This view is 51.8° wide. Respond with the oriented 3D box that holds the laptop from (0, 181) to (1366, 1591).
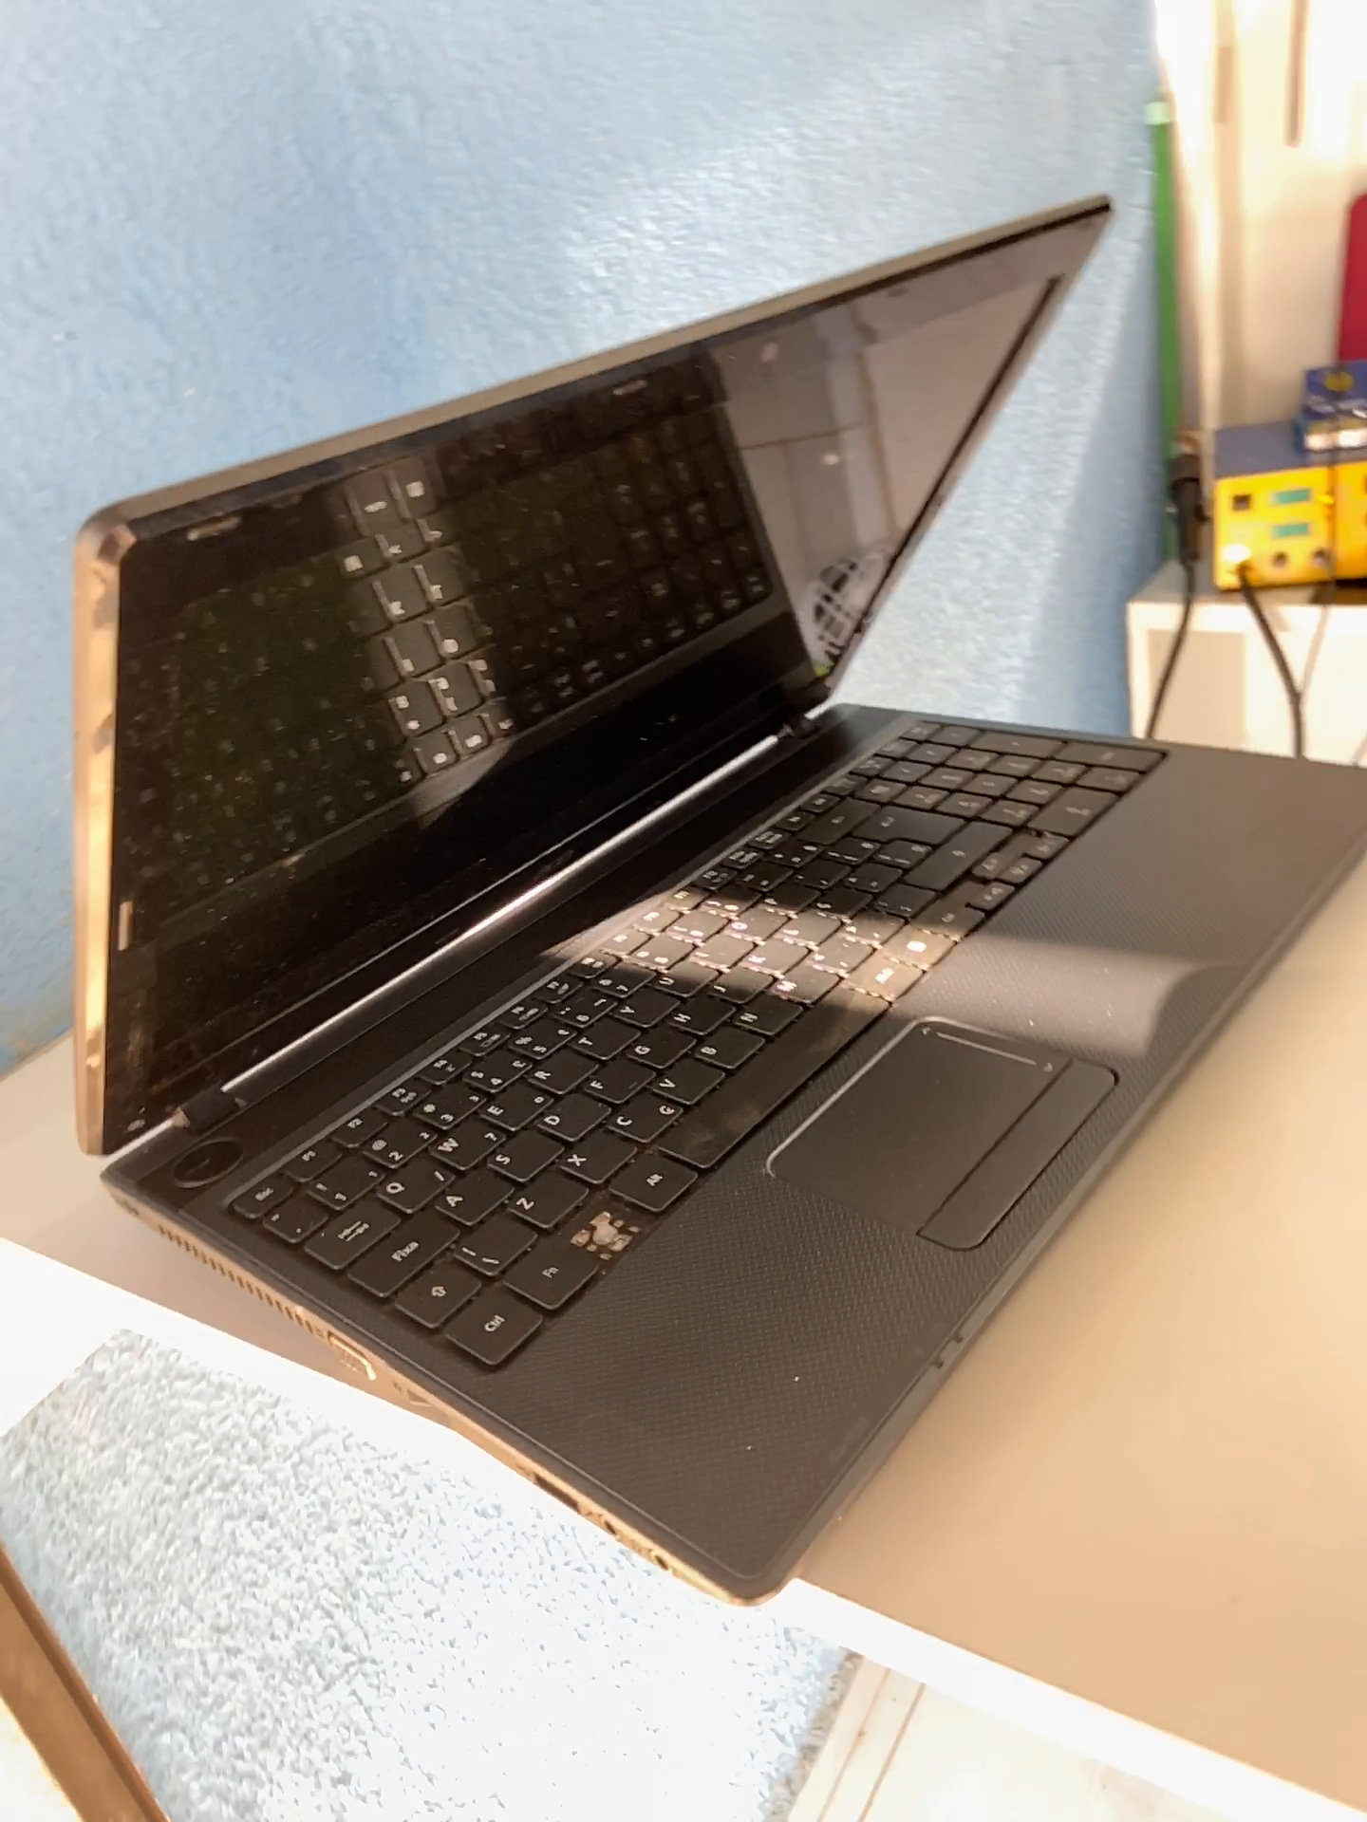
[{"bbox_3d":[0.020,-0.066,0.414,0.248,0.191,0.377,13,36,40],"label":"laptop"}]
